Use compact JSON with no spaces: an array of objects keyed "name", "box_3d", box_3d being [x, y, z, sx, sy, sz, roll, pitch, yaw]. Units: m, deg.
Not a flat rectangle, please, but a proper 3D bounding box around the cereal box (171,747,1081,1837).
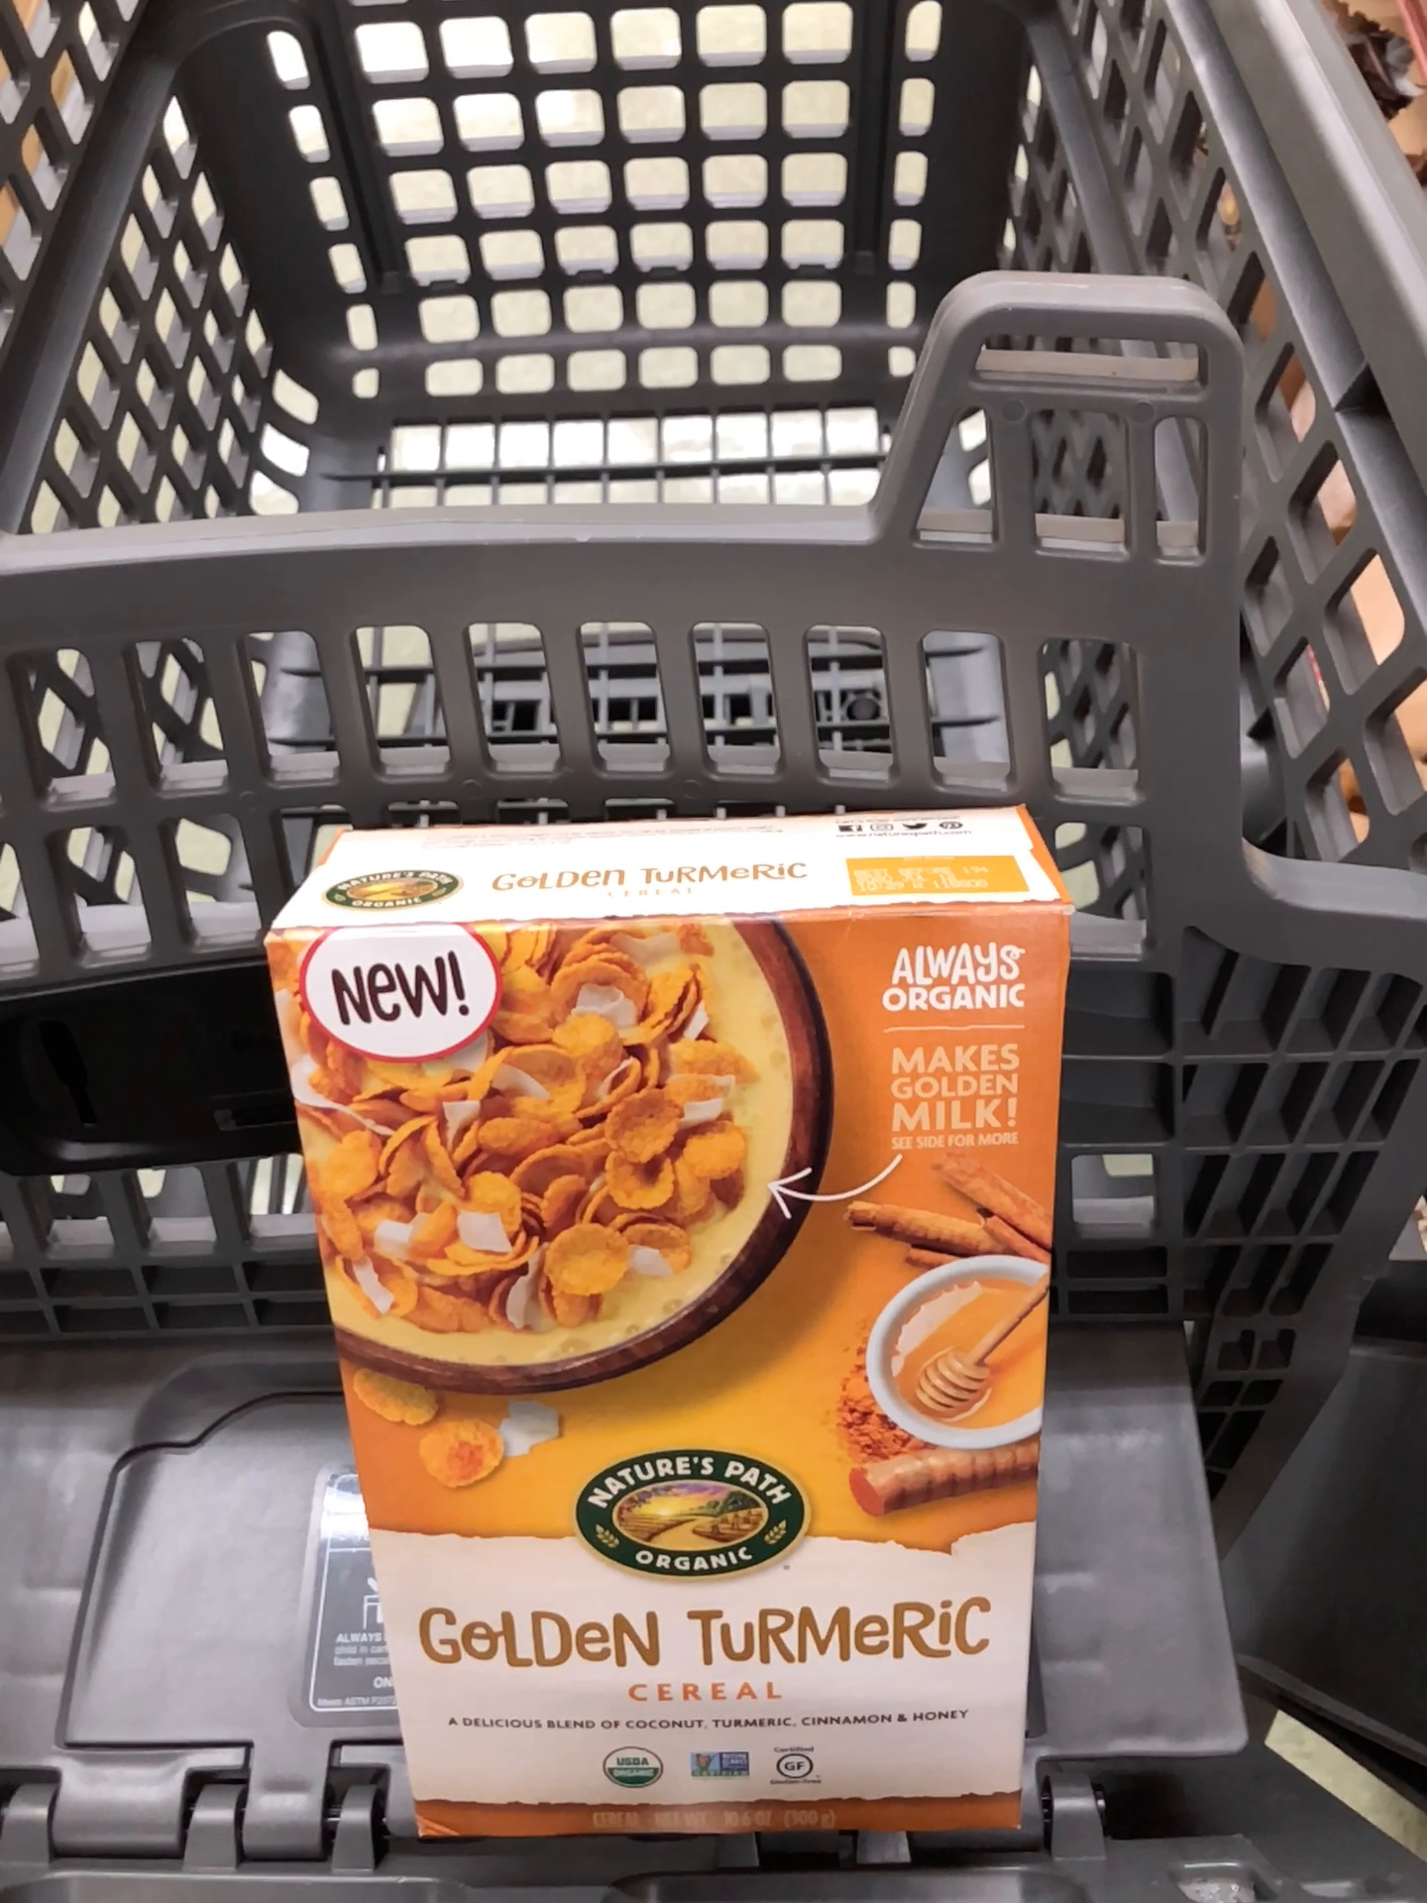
[{"name":"cereal box","box_3d":[-0.013,0.092,0.395,0.180,0.270,0.070,-2,22,1]}]
